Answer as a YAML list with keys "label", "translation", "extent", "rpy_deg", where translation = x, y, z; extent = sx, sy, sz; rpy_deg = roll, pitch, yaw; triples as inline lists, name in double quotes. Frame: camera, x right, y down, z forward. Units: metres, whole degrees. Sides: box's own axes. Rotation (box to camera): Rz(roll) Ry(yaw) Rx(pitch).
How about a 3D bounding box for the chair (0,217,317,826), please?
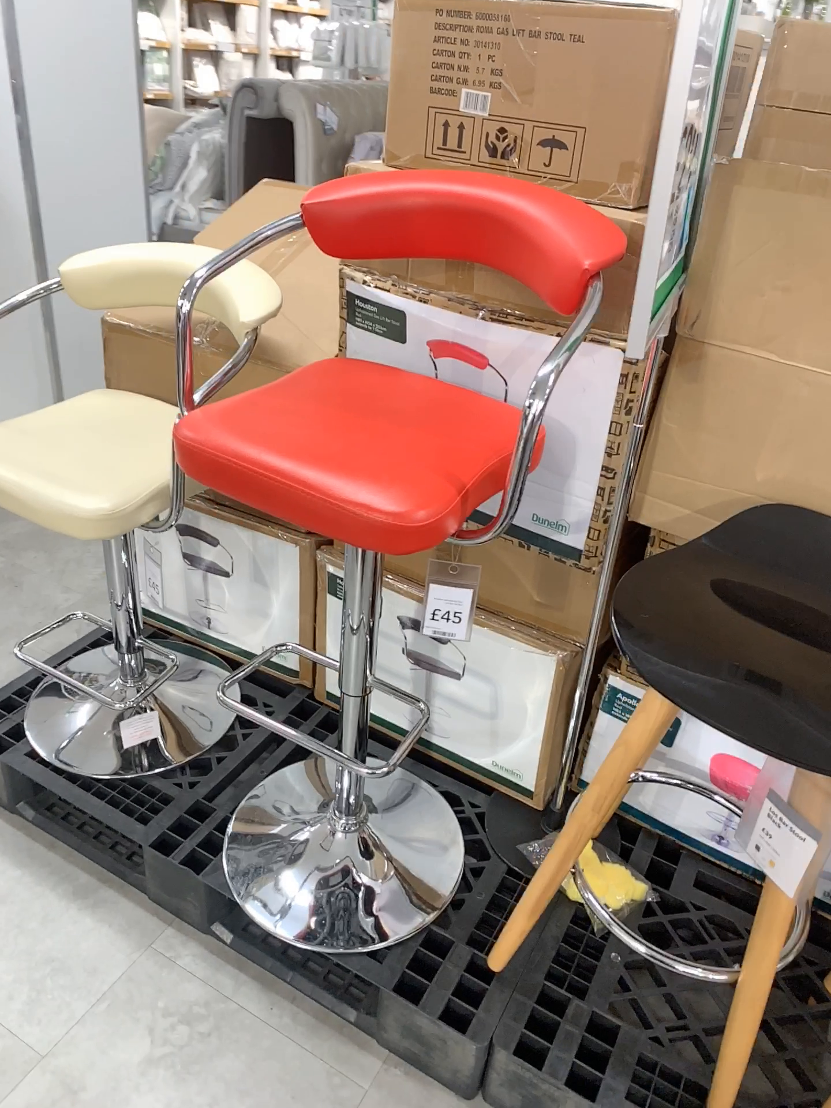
- label: "chair"
  translation: [-0.521, -0.080, 1.478]
  extent: [0.496, 0.838, 0.462]
  rpy_deg: [20, 33, 22]

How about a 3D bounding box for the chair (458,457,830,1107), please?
- label: "chair"
  translation: [0.374, 0.320, 1.116]
  extent: [0.426, 0.710, 0.391]
  rpy_deg: [21, 33, 24]

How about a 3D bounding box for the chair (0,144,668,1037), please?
- label: "chair"
  translation: [-0.092, 0.016, 1.167]
  extent: [0.526, 0.977, 0.532]
  rpy_deg: [20, 33, 22]
